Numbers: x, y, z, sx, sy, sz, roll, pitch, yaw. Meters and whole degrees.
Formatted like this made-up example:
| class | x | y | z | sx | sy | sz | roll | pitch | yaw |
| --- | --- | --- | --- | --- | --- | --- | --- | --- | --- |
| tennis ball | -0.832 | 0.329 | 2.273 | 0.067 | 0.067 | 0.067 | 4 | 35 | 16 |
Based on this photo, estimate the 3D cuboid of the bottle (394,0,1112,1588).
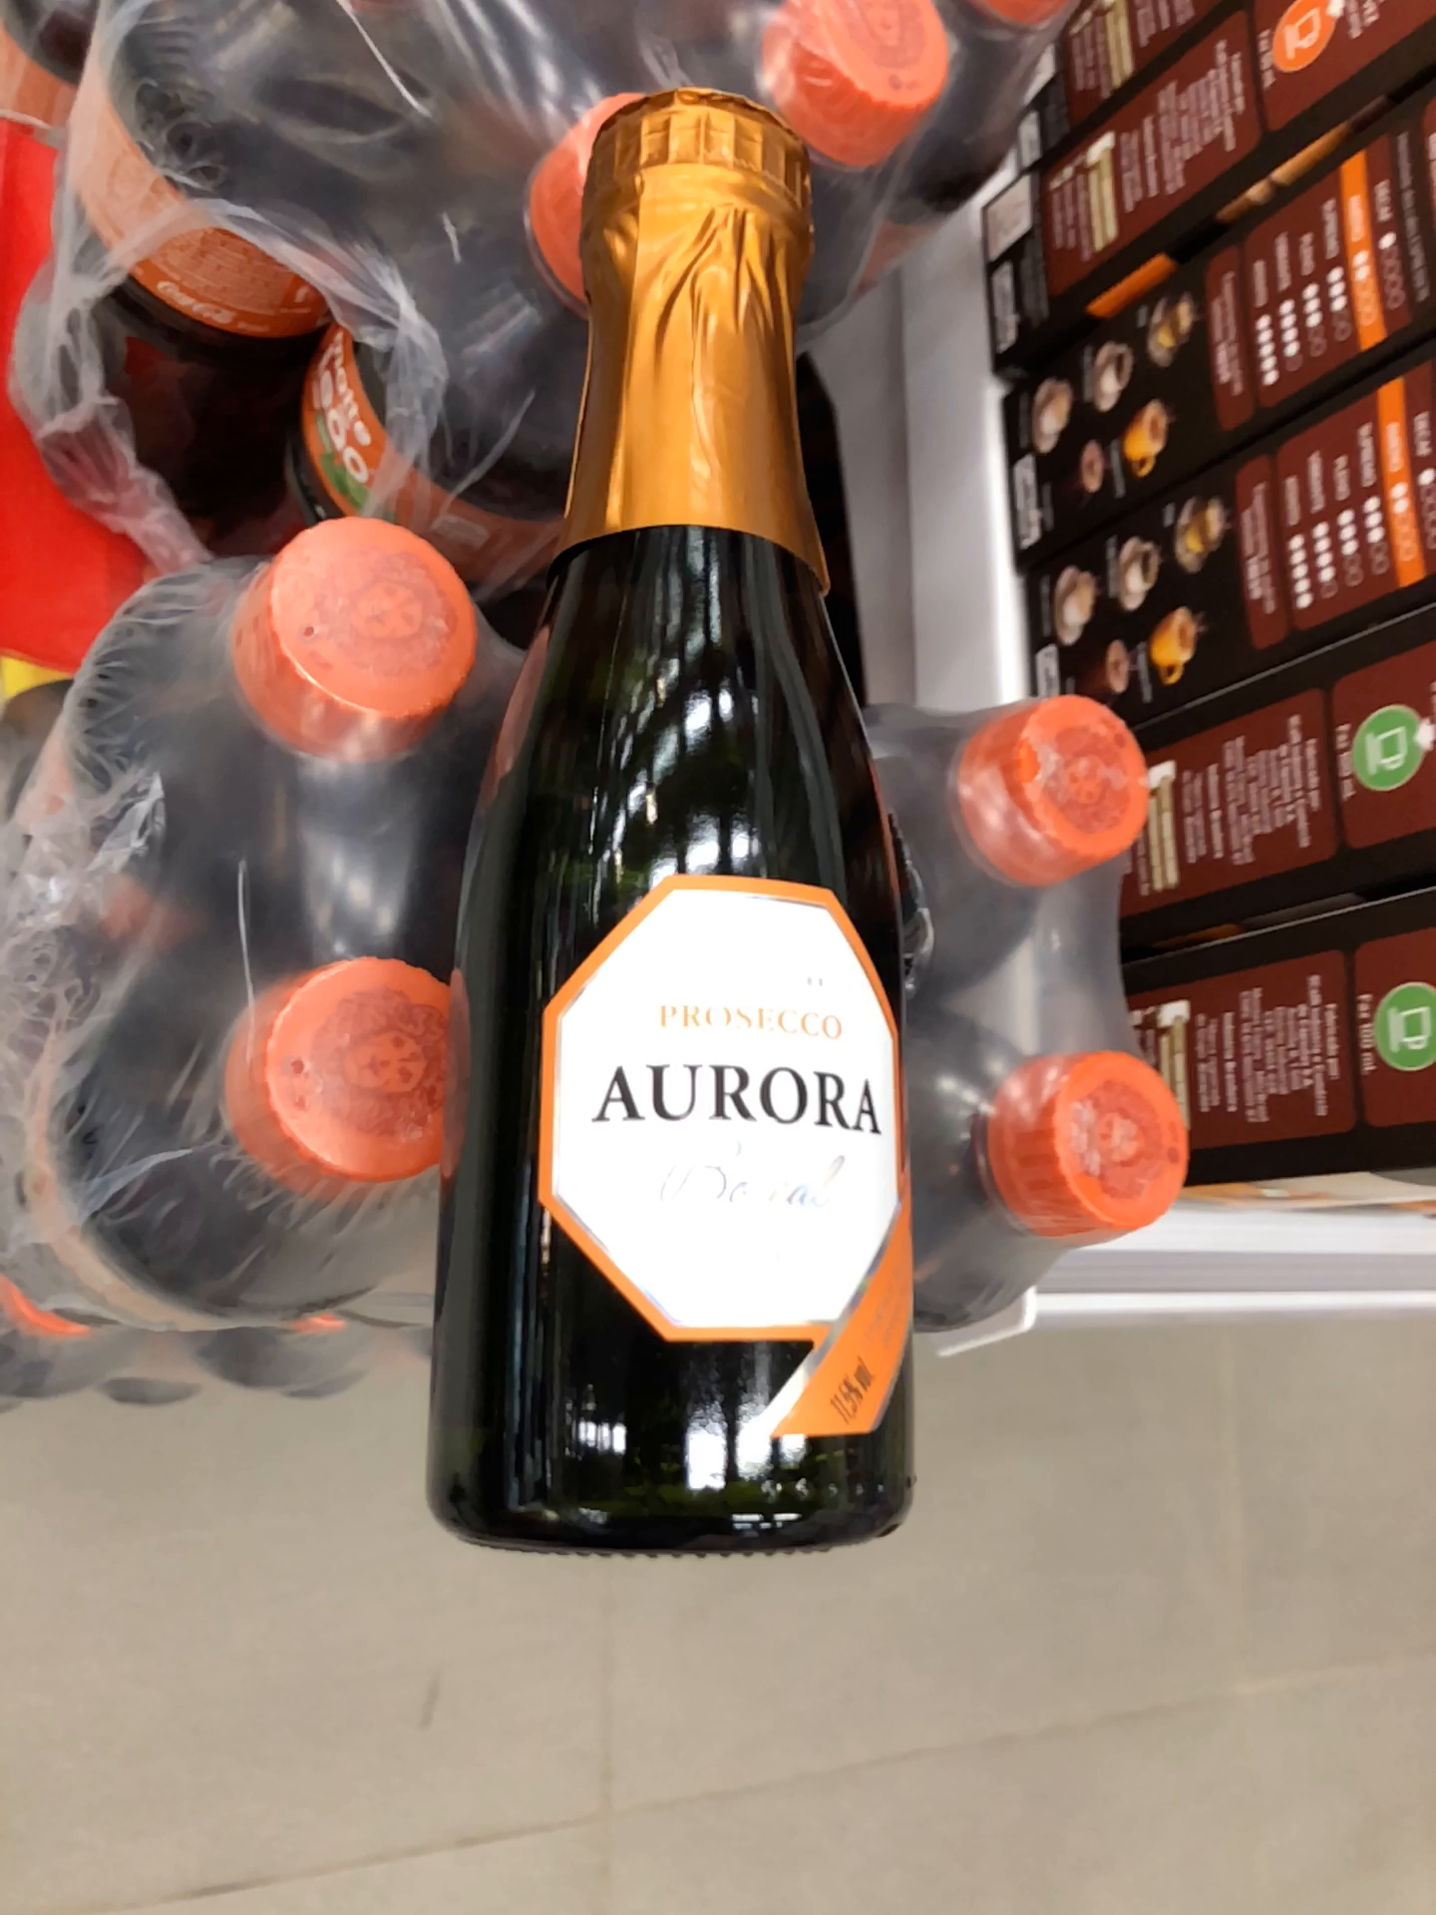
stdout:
| class | x | y | z | sx | sy | sz | roll | pitch | yaw |
| --- | --- | --- | --- | --- | --- | --- | --- | --- | --- |
| bottle | 0.006 | -0.027 | 0.190 | 0.060 | 0.050 | 0.180 | 8 | 77 | -29 |
